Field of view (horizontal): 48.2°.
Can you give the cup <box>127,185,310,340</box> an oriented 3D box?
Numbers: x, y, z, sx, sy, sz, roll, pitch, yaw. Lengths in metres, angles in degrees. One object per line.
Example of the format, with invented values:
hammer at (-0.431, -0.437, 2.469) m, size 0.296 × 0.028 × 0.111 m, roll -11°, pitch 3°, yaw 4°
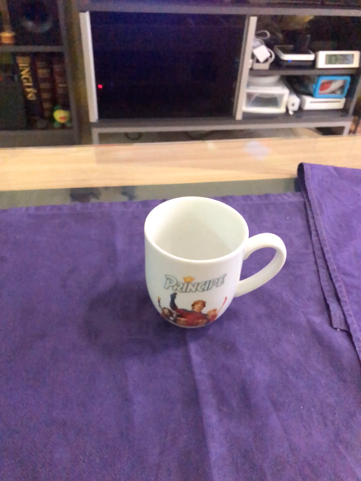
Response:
cup at (0.024, 0.018, 0.323) m, size 0.120 × 0.090 × 0.080 m, roll 2°, pitch 40°, yaw -1°
